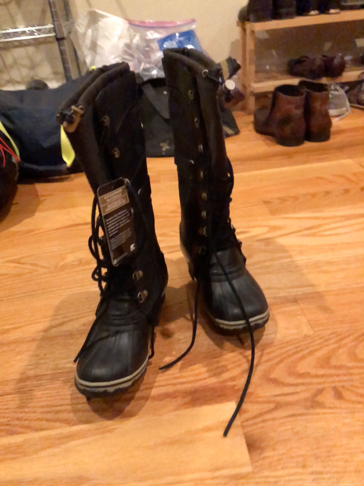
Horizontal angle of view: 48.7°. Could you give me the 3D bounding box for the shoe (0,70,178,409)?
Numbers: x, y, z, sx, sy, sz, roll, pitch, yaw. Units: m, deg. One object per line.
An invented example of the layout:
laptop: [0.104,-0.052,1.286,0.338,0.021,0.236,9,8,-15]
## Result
shoe: [-0.091,-0.017,0.483,0.100,0.308,0.261,1,32,11]

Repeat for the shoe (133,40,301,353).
shoe: [0.034,-0.075,0.538,0.100,0.328,0.261,-13,32,-12]
